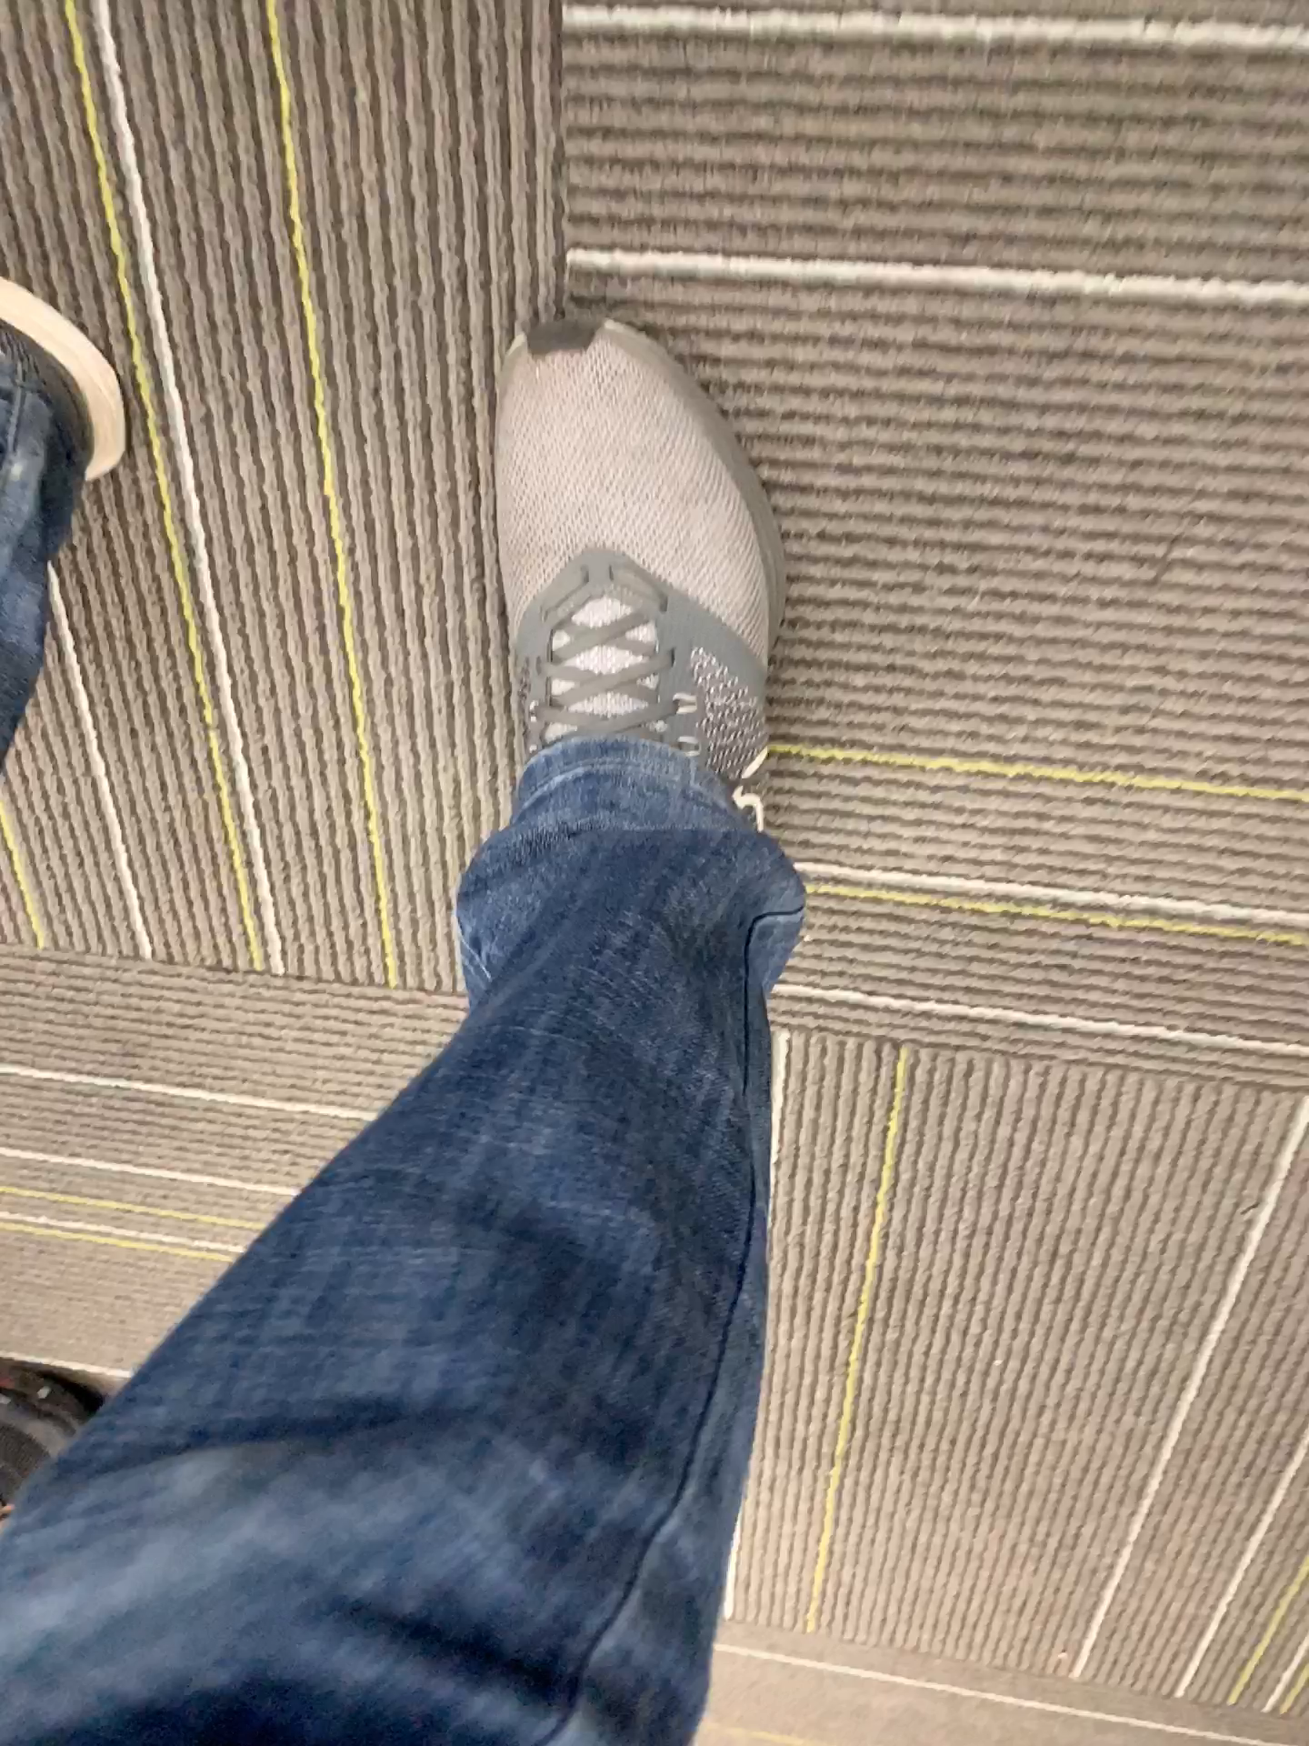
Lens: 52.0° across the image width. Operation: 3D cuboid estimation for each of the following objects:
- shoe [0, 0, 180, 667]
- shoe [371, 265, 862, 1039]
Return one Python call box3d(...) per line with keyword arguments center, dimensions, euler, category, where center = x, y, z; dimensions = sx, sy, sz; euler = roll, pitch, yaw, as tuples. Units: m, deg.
box3d(center=(-0.368, -0.231, 0.525), dimensions=(0.313, 0.093, 0.132), euler=(30, 125, -10), category="shoe")
box3d(center=(0.002, -0.077, 0.572), dimensions=(0.128, 0.093, 0.301), euler=(-5, 123, 15), category="shoe")
